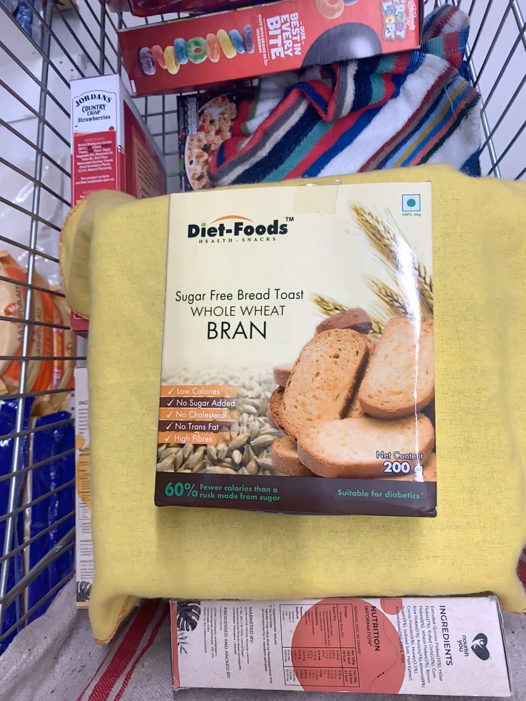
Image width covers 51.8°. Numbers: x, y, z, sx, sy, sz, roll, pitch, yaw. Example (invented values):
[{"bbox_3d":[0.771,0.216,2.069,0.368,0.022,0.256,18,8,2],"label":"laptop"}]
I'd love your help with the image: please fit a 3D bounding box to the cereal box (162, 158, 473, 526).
[{"bbox_3d":[0.027,-0.005,0.282,0.140,0.050,0.170,0,81,9],"label":"cereal box"}]
